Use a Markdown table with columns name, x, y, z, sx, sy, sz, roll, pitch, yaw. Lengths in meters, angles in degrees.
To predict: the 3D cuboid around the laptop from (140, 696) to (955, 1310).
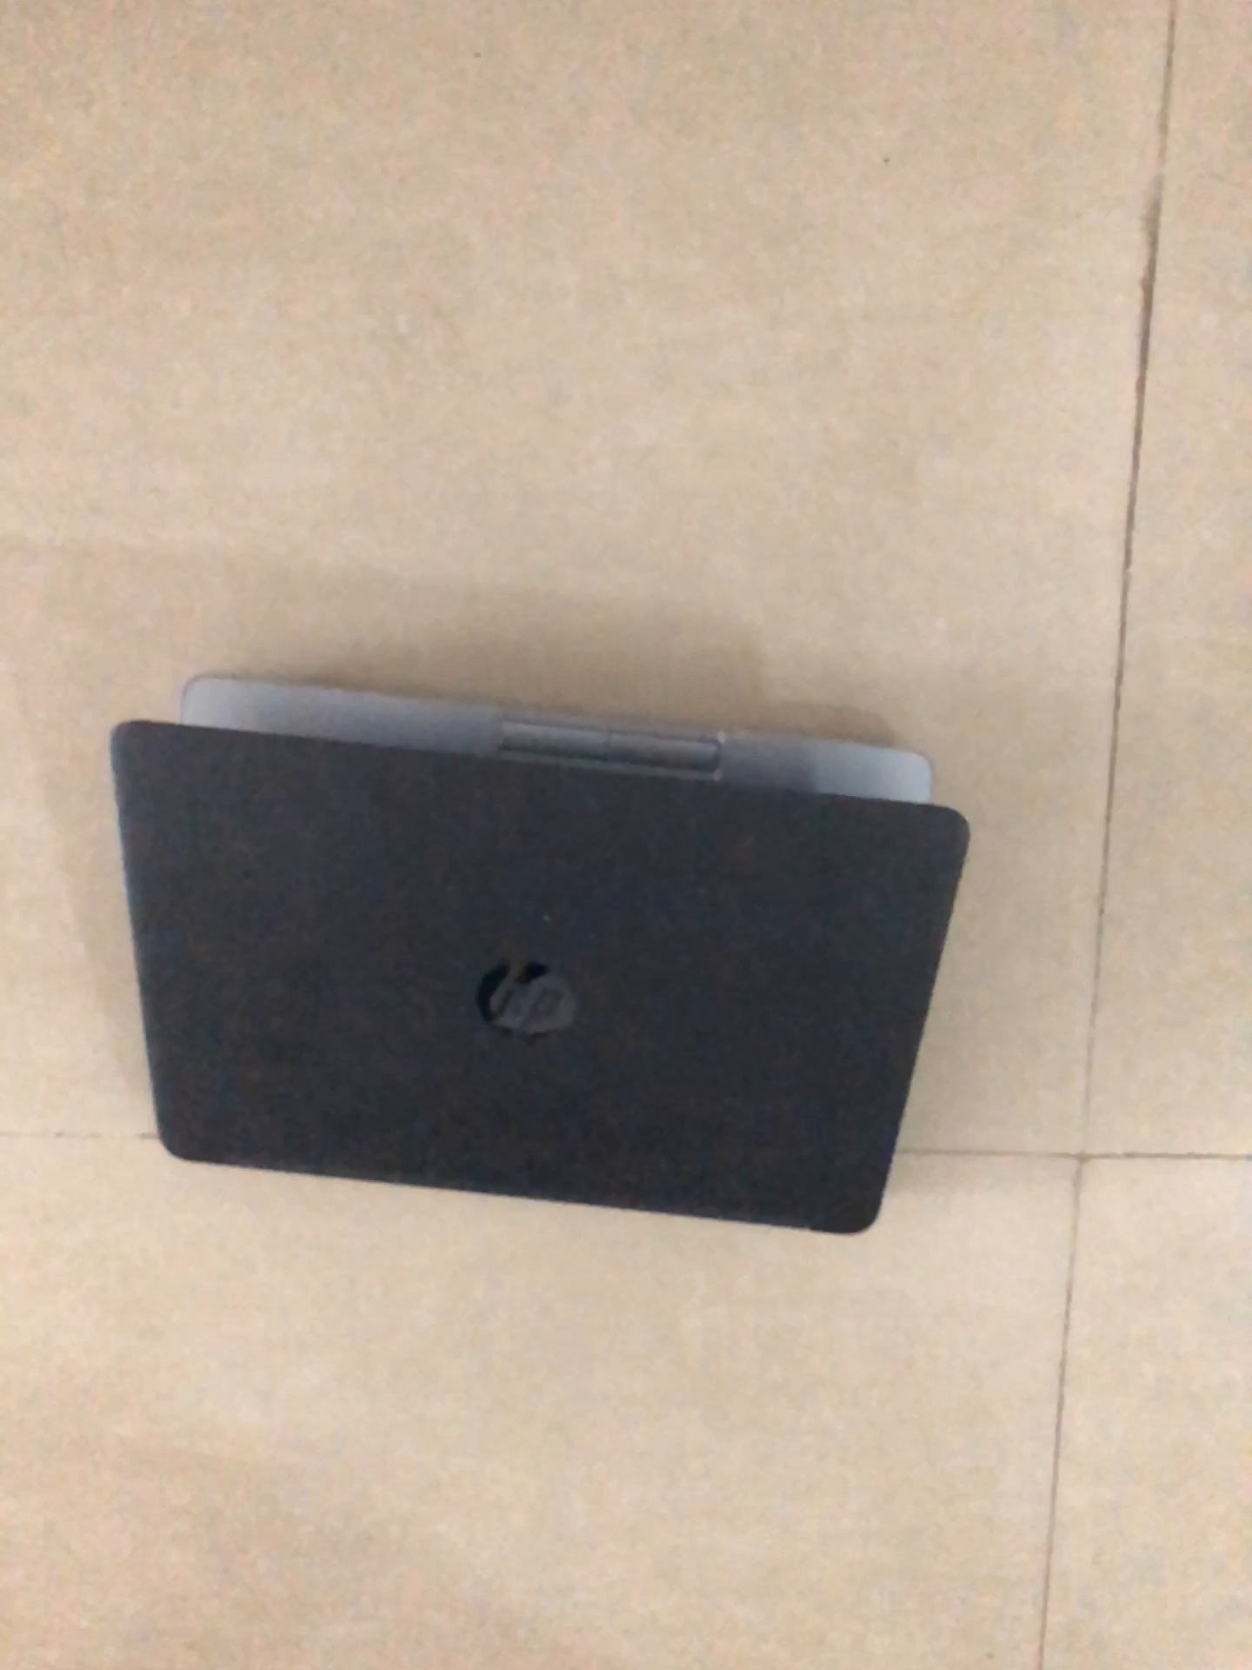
| name | x | y | z | sx | sy | sz | roll | pitch | yaw |
| --- | --- | --- | --- | --- | --- | --- | --- | --- | --- |
| laptop | -0.038 | 0.068 | 0.586 | 0.304 | 0.085 | 0.214 | 6 | 106 | 1 |
